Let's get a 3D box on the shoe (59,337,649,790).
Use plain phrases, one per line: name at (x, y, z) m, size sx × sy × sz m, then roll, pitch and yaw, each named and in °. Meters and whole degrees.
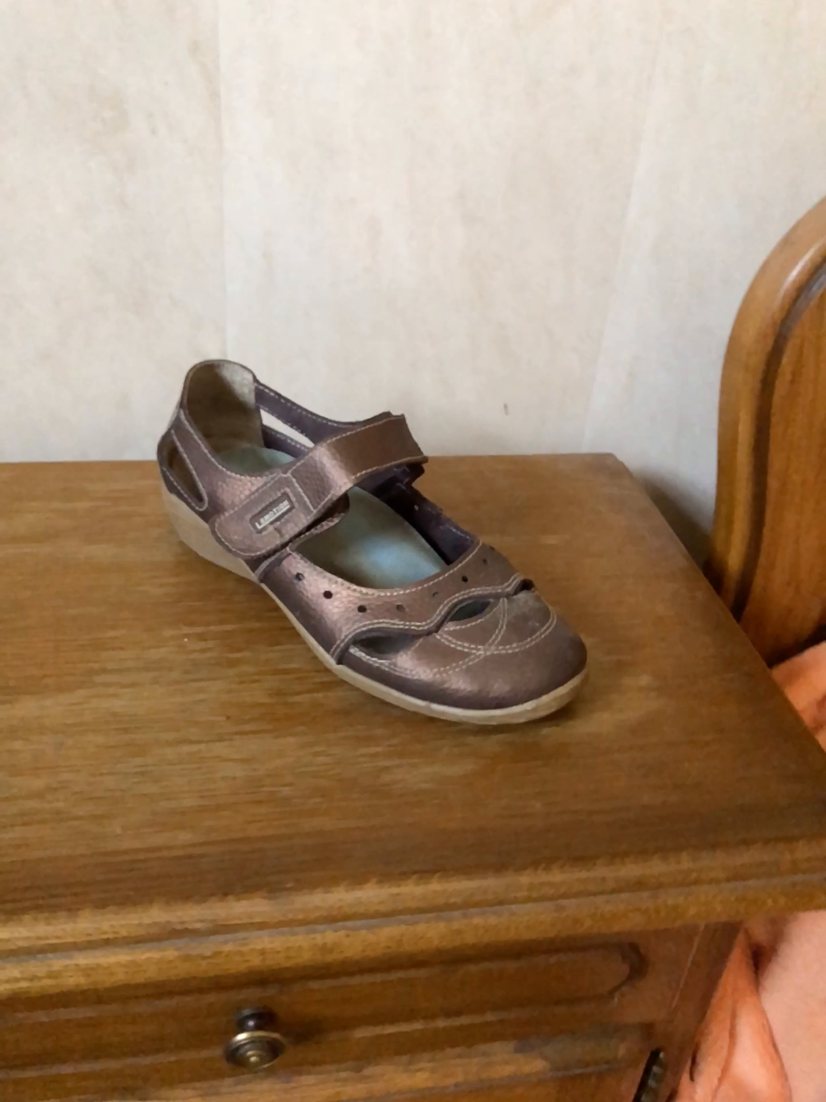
shoe at (-0.039, -0.013, 0.431) m, size 0.260 × 0.089 × 0.101 m, roll 25°, pitch 37°, yaw 29°
